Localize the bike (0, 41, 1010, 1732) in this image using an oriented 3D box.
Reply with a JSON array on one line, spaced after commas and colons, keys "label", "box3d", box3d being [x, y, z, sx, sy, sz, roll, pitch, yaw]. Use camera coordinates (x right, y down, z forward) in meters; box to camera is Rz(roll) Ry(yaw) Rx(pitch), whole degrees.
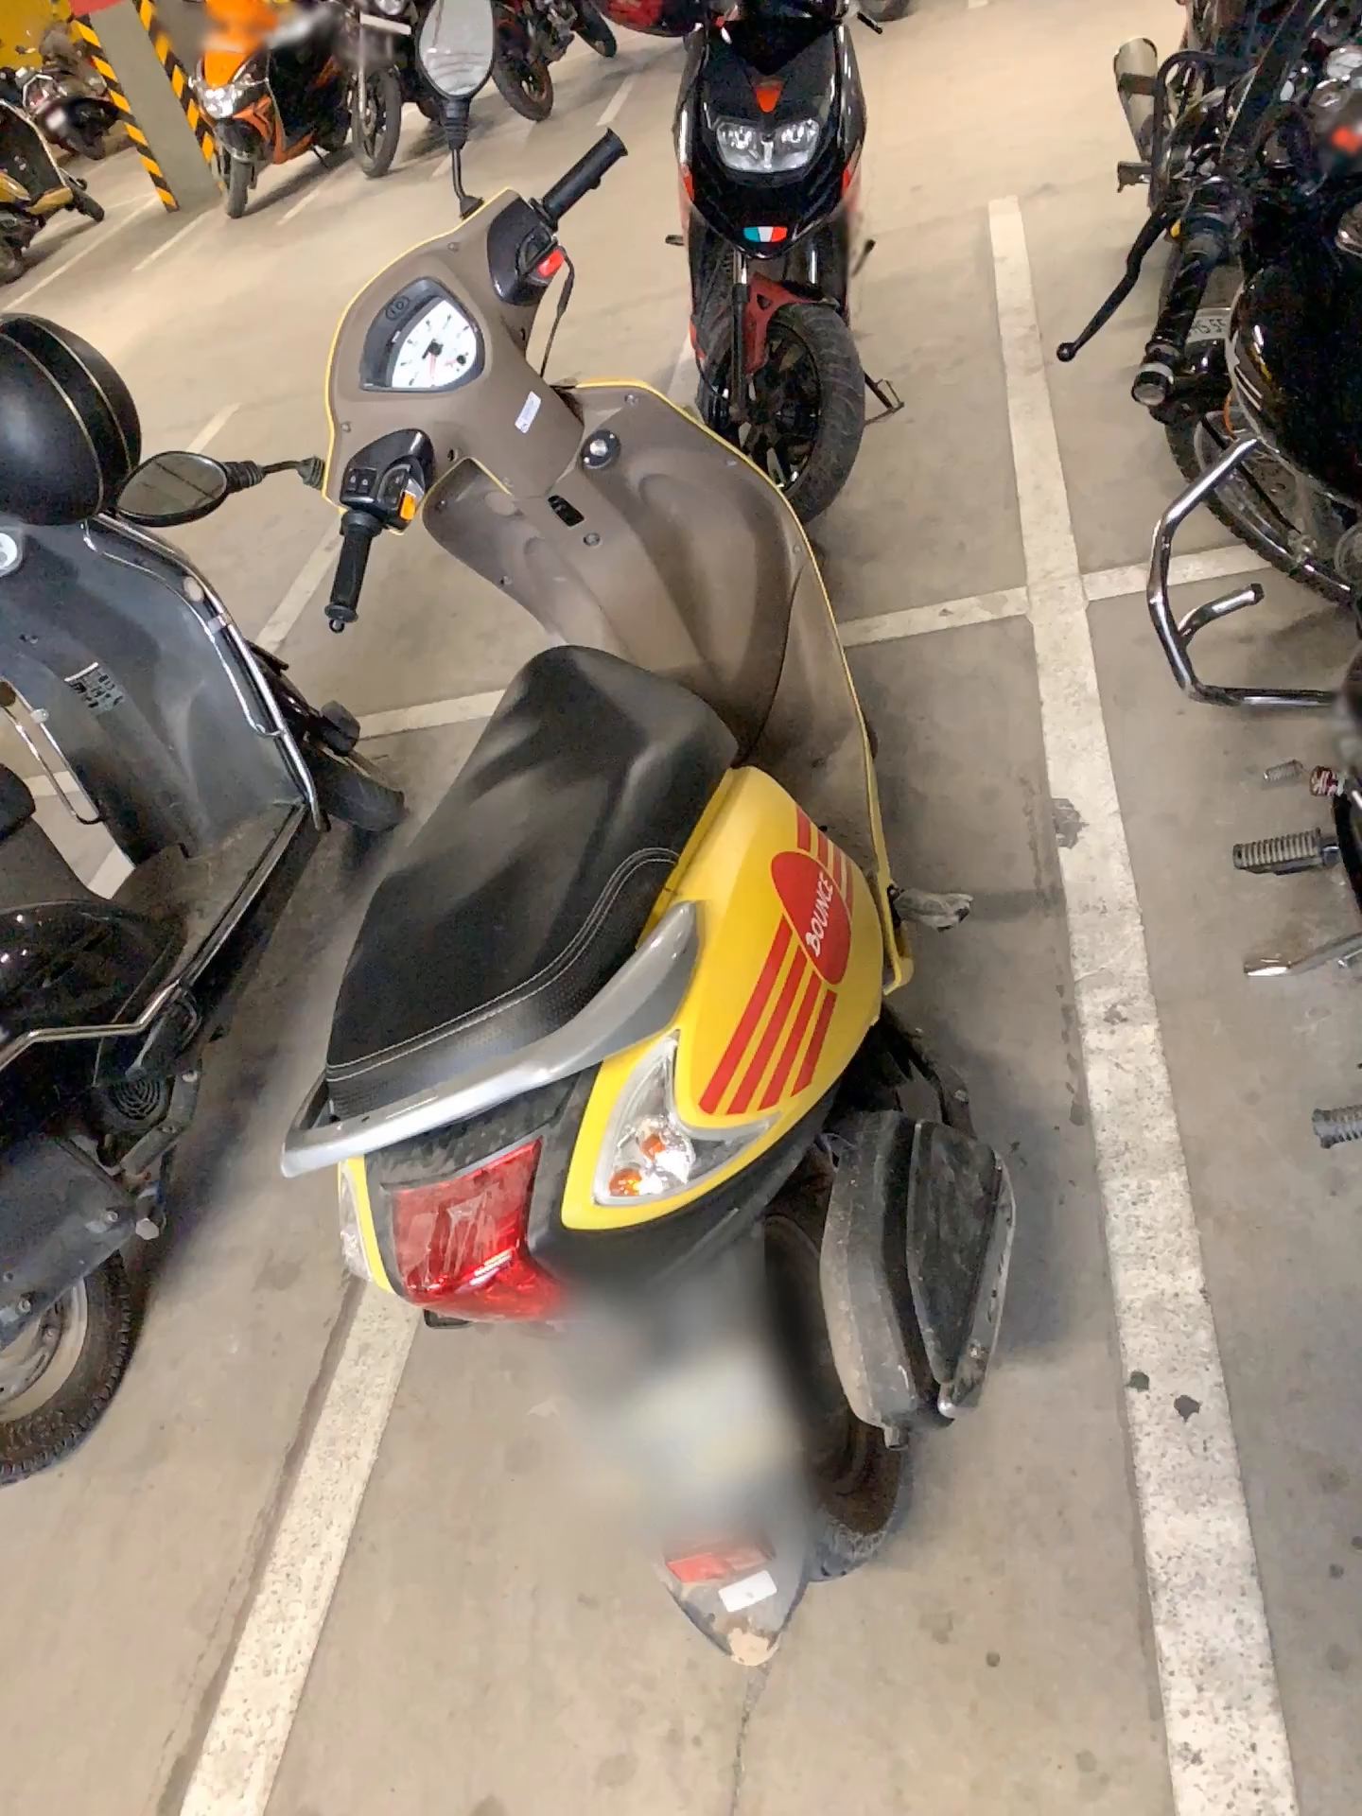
[{"label": "bike", "box3d": [-0.072, -0.210, 1.621, 0.567, 1.048, 1.712, -11, 37, 13]}]
